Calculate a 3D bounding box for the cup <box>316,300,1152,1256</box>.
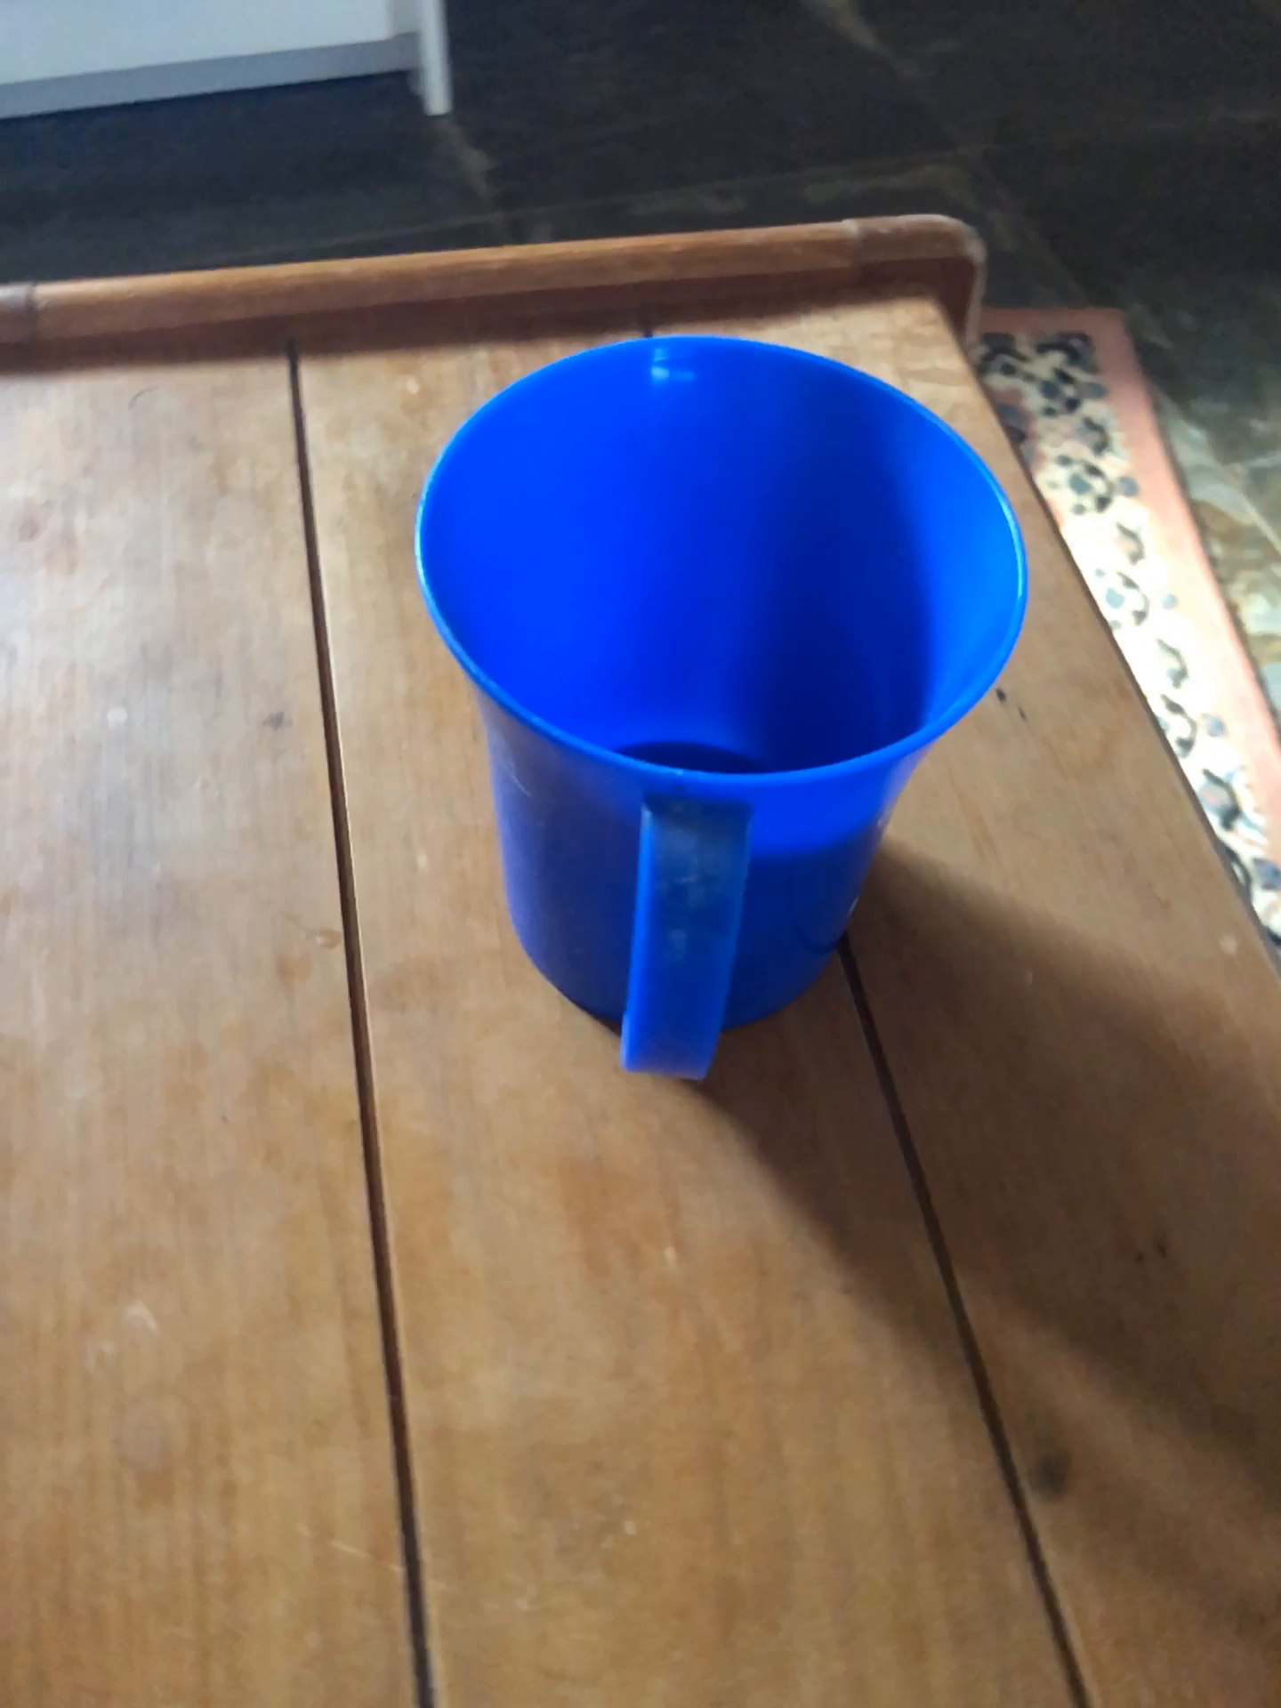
[{"bbox_3d":[0.013,-0.011,0.245,0.100,0.099,0.121,5,55,0],"label":"cup"}]
